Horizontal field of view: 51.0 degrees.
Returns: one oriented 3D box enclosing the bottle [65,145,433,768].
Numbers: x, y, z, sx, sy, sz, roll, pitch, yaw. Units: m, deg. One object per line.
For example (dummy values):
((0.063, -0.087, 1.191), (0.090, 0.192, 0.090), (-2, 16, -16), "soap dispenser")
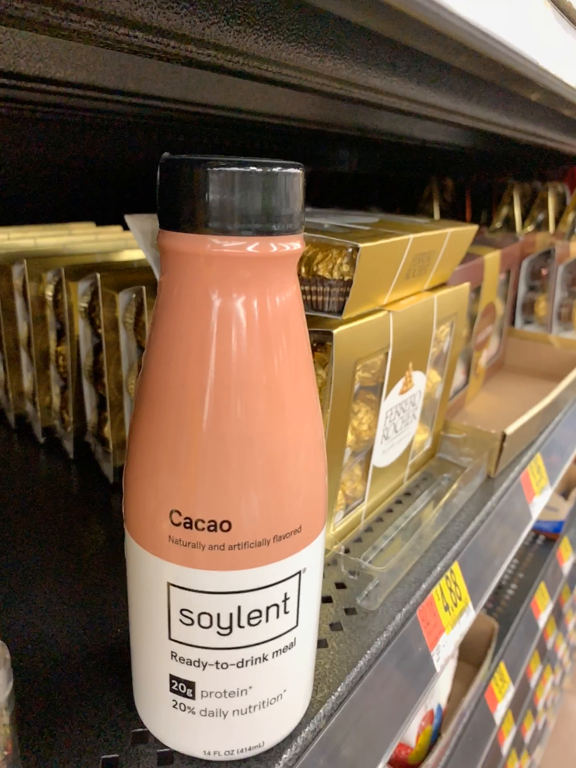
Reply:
((-0.018, 0.027, 0.196), (0.080, 0.189, 0.070), (2, 20, -8), "bottle")
